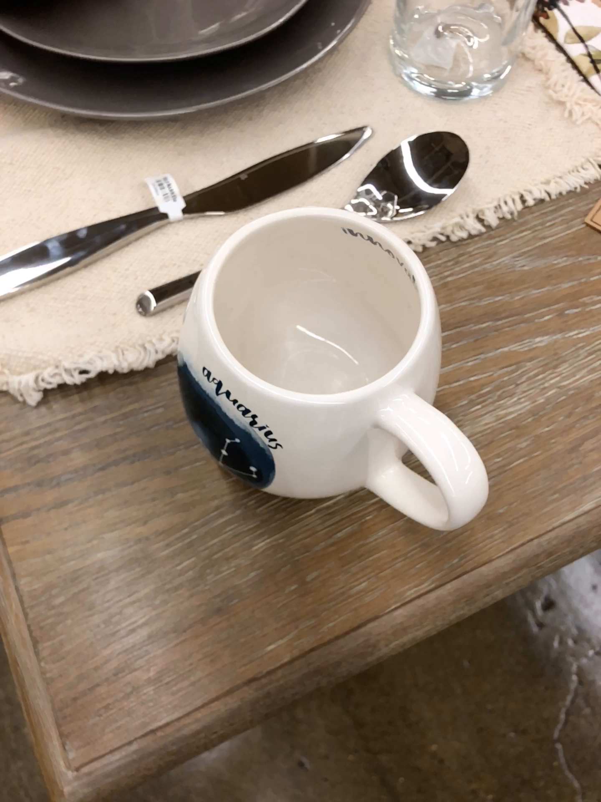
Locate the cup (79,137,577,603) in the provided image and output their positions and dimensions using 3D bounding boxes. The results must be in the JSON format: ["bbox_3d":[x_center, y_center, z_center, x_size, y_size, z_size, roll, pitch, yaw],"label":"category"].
[{"bbox_3d":[0.006,-0.009,0.247,0.134,0.081,0.082,38,70,14],"label":"cup"}]
